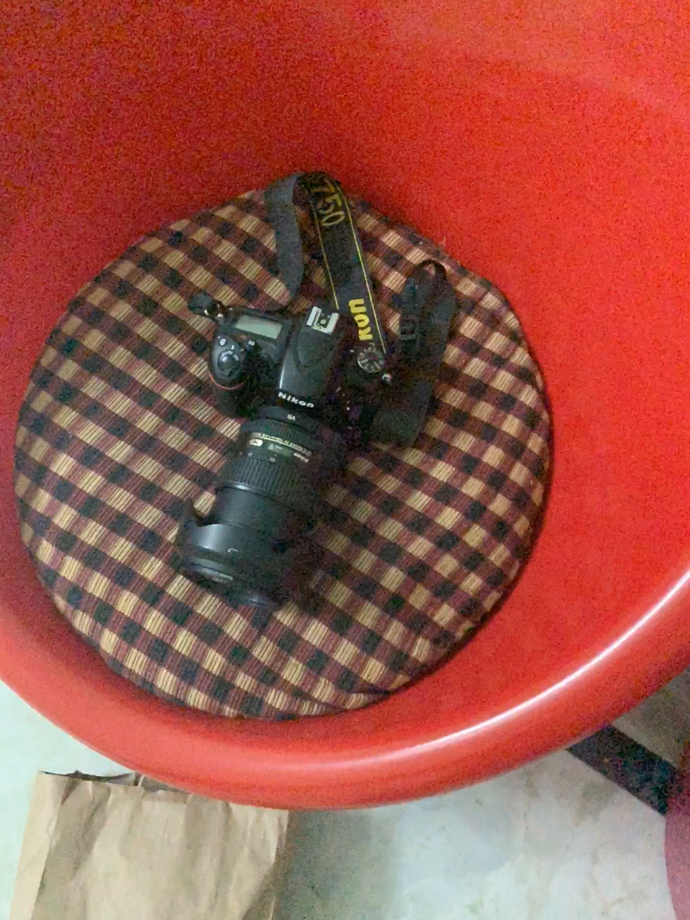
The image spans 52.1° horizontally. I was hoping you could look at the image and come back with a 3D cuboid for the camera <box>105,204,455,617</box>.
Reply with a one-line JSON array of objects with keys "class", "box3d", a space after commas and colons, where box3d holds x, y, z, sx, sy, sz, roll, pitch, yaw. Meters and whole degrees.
[{"class": "camera", "box3d": [-0.039, -0.024, 0.570, 0.160, 0.180, 0.252, 19, 77, 4]}]
